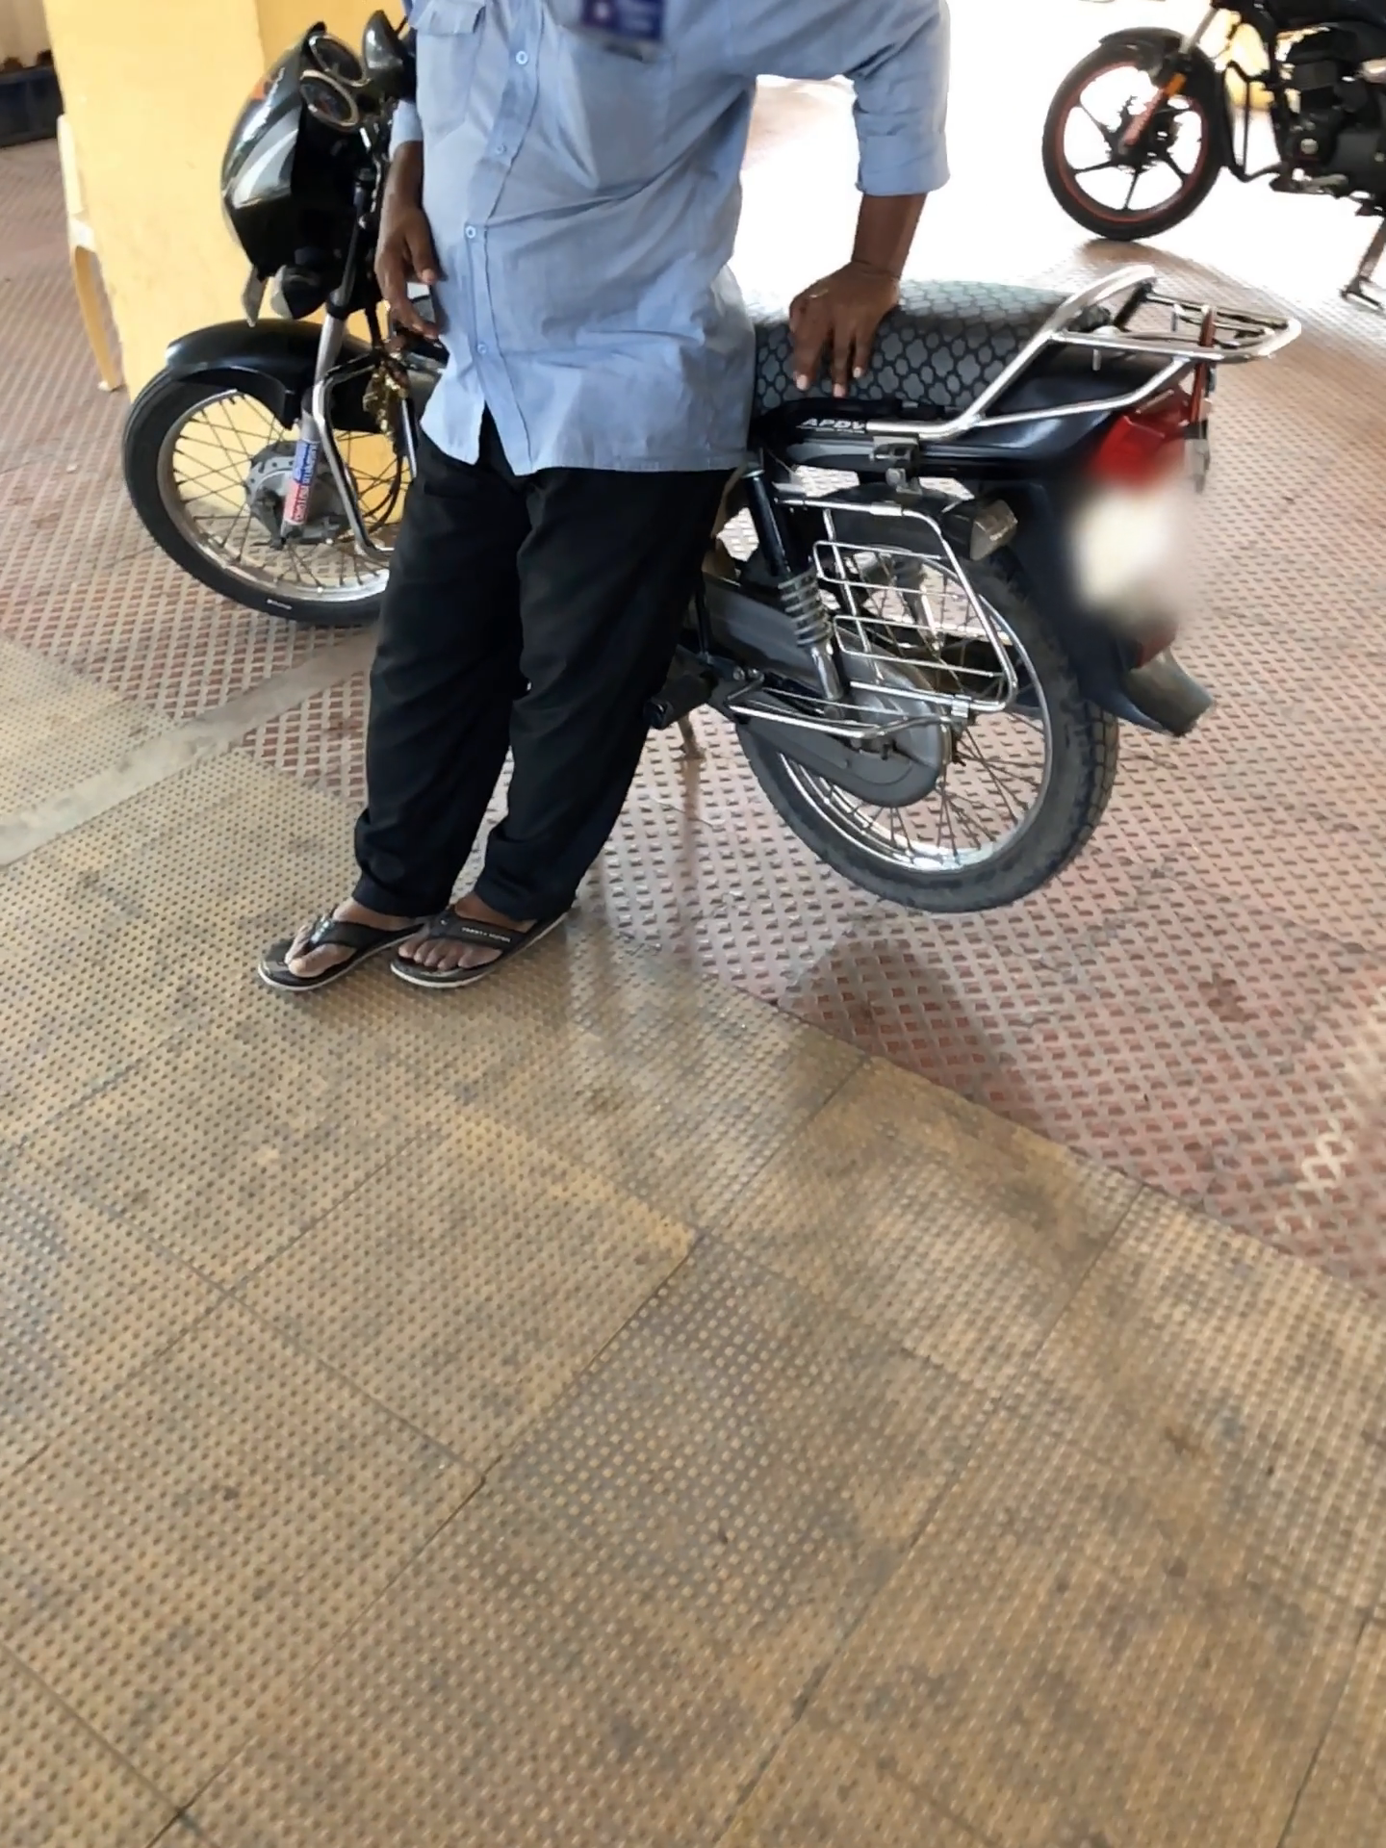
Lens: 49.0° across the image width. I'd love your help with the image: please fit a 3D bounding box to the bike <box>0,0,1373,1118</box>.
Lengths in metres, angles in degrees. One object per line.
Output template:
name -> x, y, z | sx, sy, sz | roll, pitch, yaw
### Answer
bike -> -0.233, -0.661, 2.015 | 1.676, 1.036, 0.681 | 26, 45, 26
